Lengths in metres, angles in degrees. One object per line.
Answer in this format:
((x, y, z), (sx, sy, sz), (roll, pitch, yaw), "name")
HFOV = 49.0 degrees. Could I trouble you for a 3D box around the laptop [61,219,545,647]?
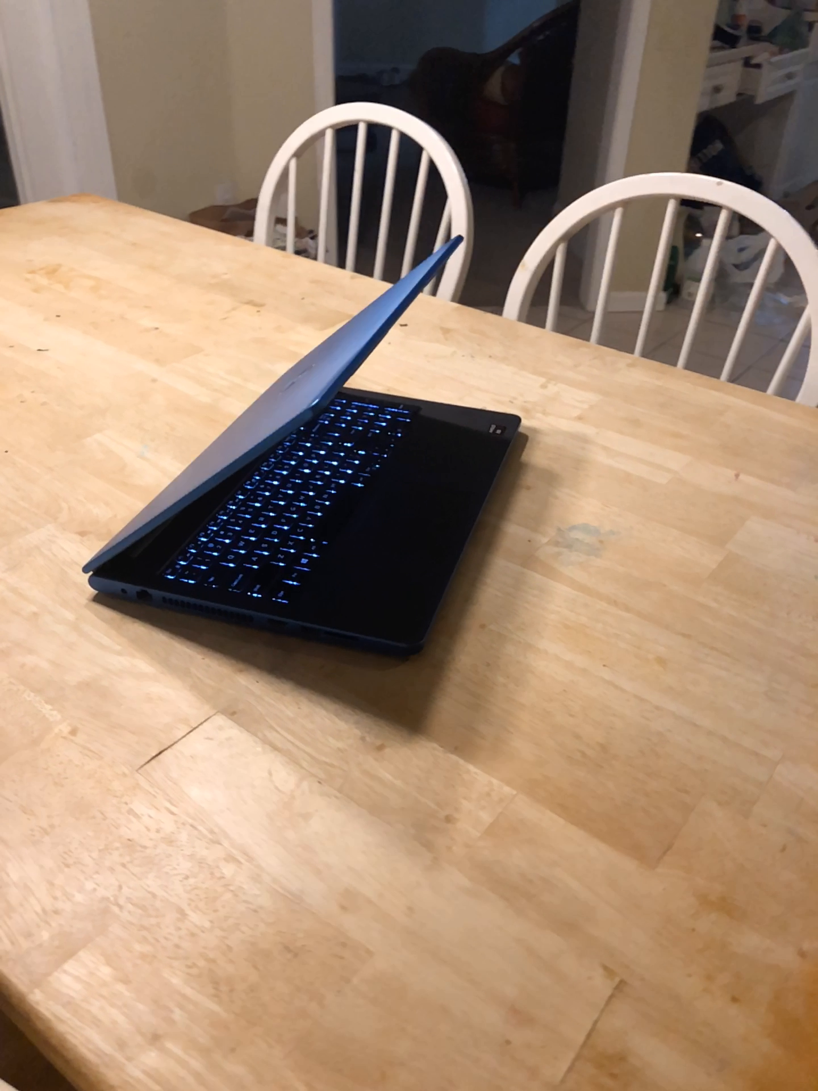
((-0.049, -0.120, 0.722), (0.248, 0.159, 0.363), (11, 36, 11), "laptop")
